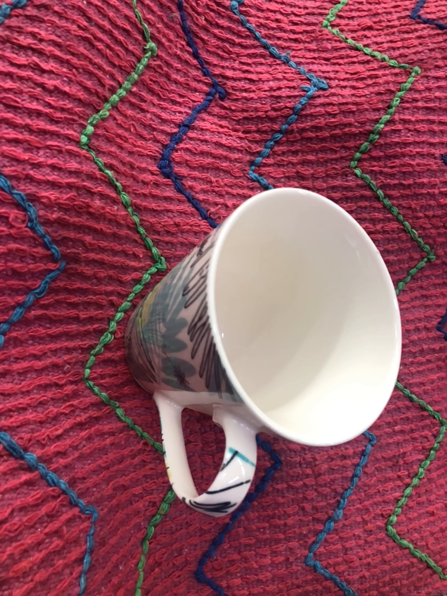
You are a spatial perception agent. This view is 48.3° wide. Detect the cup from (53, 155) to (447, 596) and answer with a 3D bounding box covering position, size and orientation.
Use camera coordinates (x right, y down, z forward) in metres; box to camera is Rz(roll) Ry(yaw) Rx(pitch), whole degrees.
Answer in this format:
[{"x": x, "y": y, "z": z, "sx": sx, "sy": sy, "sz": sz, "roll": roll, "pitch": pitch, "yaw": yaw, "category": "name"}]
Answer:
[{"x": 0.014, "y": 0.030, "z": 0.184, "sx": 0.090, "sy": 0.080, "sz": 0.110, "roll": 35, "pitch": 72, "yaw": -23, "category": "cup"}]
